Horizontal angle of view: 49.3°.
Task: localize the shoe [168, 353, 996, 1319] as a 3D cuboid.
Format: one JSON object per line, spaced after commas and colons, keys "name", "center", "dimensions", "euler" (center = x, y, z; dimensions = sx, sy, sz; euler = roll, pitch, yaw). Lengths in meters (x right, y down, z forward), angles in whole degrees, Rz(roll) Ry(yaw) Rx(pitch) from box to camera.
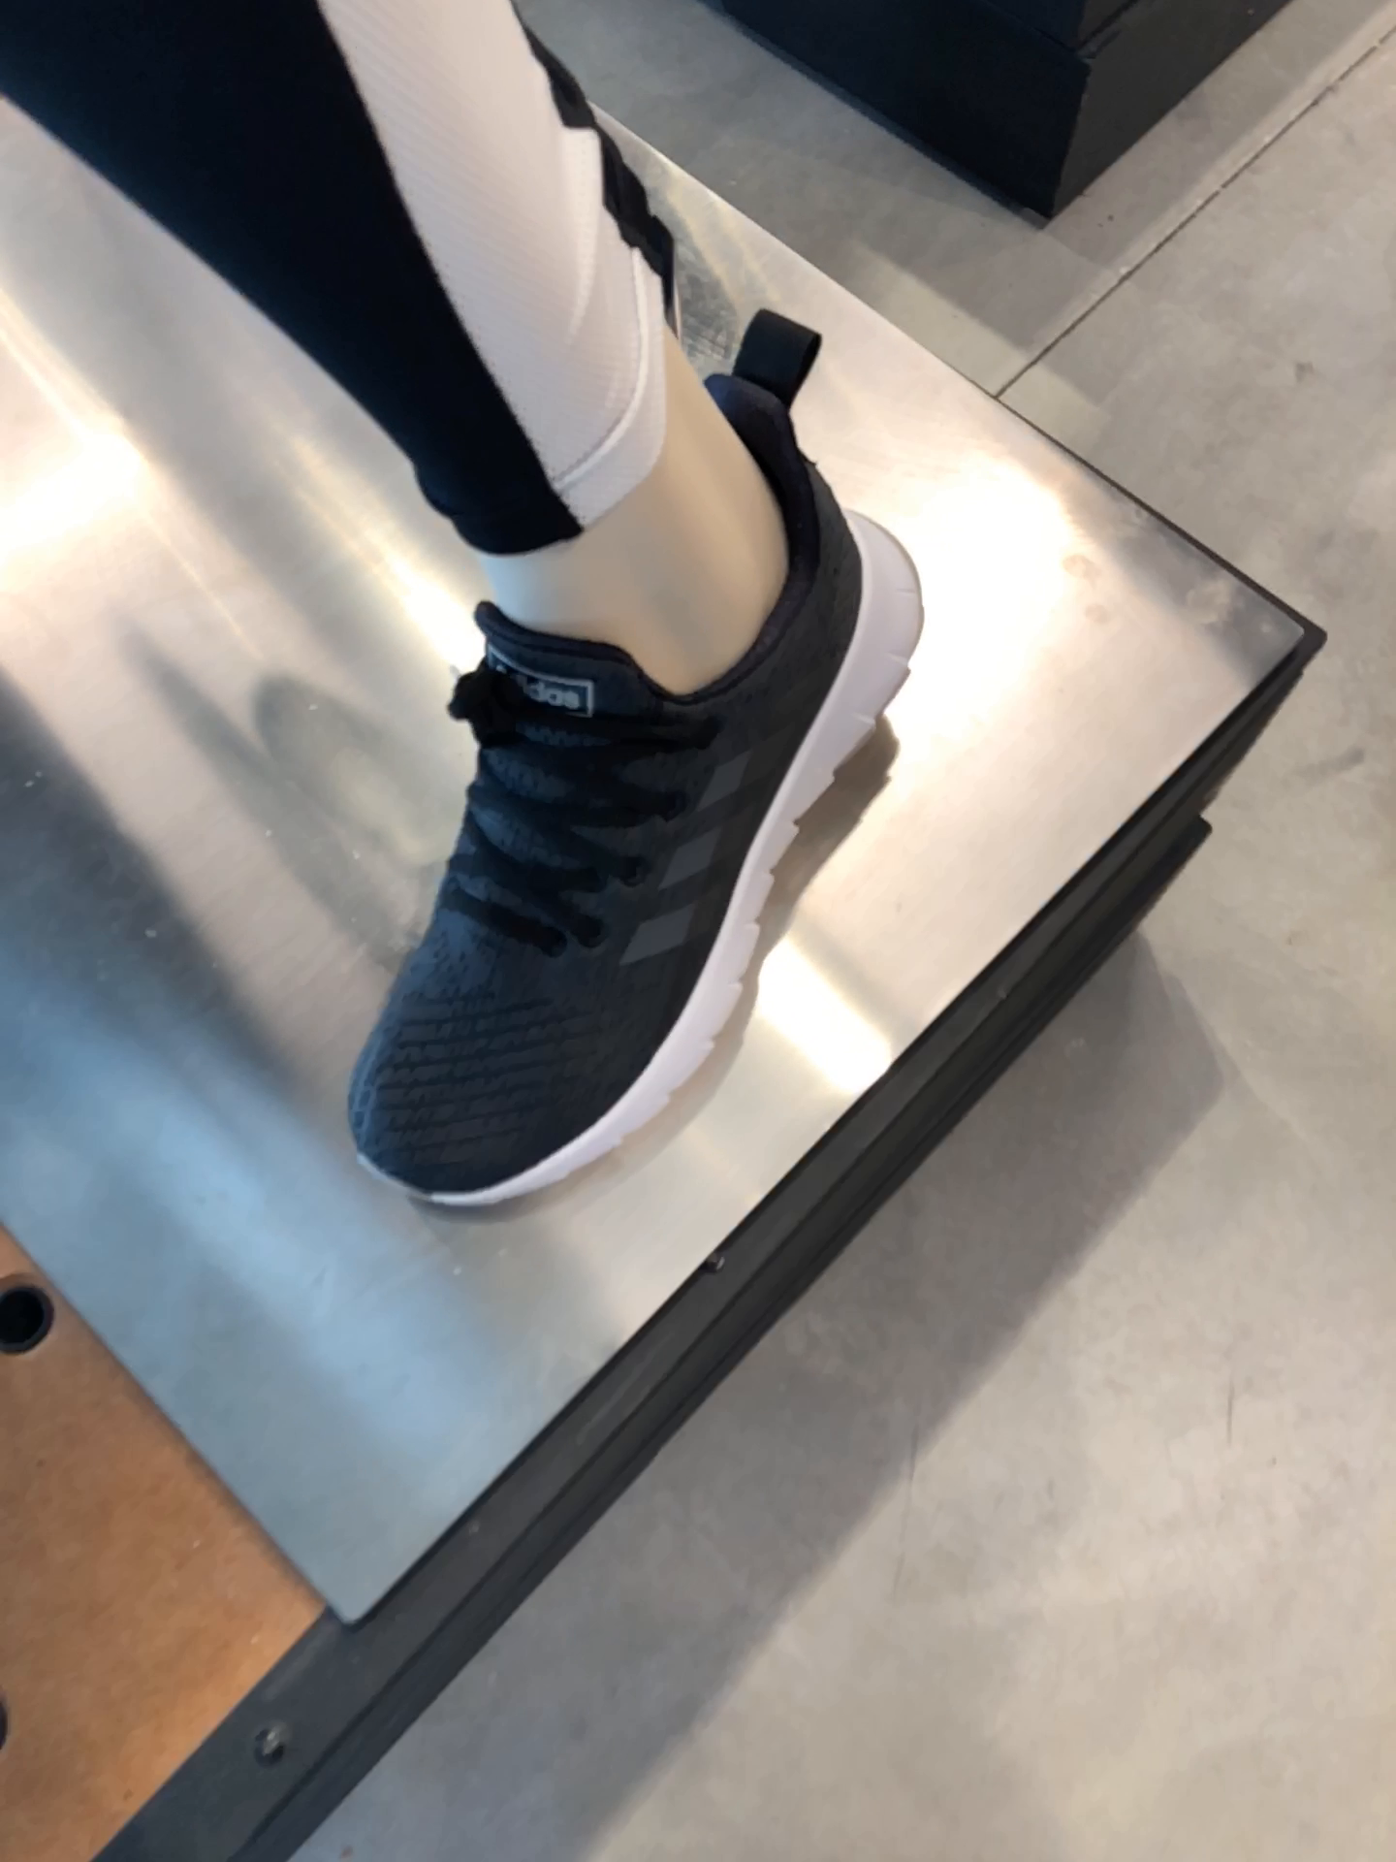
{"name": "shoe", "center": [-0.024, -0.032, 0.508], "dimensions": [0.110, 0.100, 0.290], "euler": [30, 79, 21]}
